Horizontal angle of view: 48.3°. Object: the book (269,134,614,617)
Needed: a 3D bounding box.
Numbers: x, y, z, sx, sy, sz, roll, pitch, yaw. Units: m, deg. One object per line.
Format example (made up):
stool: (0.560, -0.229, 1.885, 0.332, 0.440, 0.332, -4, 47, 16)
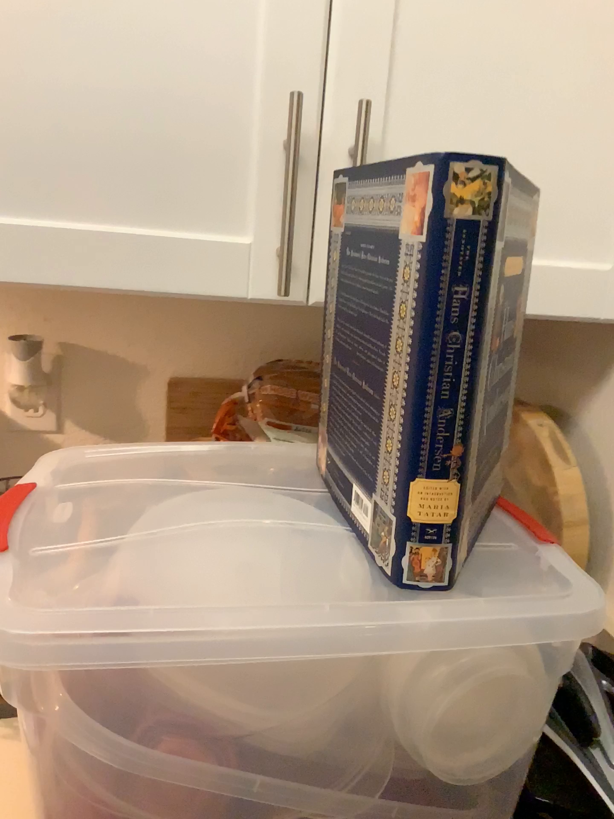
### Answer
book: (0.089, -0.038, 0.511, 0.200, 0.260, 0.250, 6, 14, -2)
